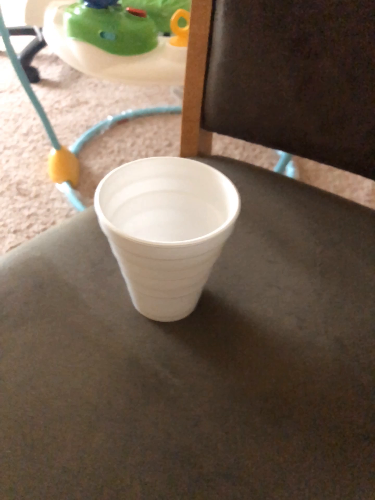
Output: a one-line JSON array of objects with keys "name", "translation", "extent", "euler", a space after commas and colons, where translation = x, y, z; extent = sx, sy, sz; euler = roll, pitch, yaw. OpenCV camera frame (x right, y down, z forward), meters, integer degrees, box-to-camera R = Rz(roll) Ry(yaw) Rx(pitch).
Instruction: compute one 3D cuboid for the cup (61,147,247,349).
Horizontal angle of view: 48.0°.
[{"name": "cup", "translation": [-0.015, -0.003, 0.276], "extent": [0.090, 0.080, 0.090], "euler": [1, 46, -1]}]
